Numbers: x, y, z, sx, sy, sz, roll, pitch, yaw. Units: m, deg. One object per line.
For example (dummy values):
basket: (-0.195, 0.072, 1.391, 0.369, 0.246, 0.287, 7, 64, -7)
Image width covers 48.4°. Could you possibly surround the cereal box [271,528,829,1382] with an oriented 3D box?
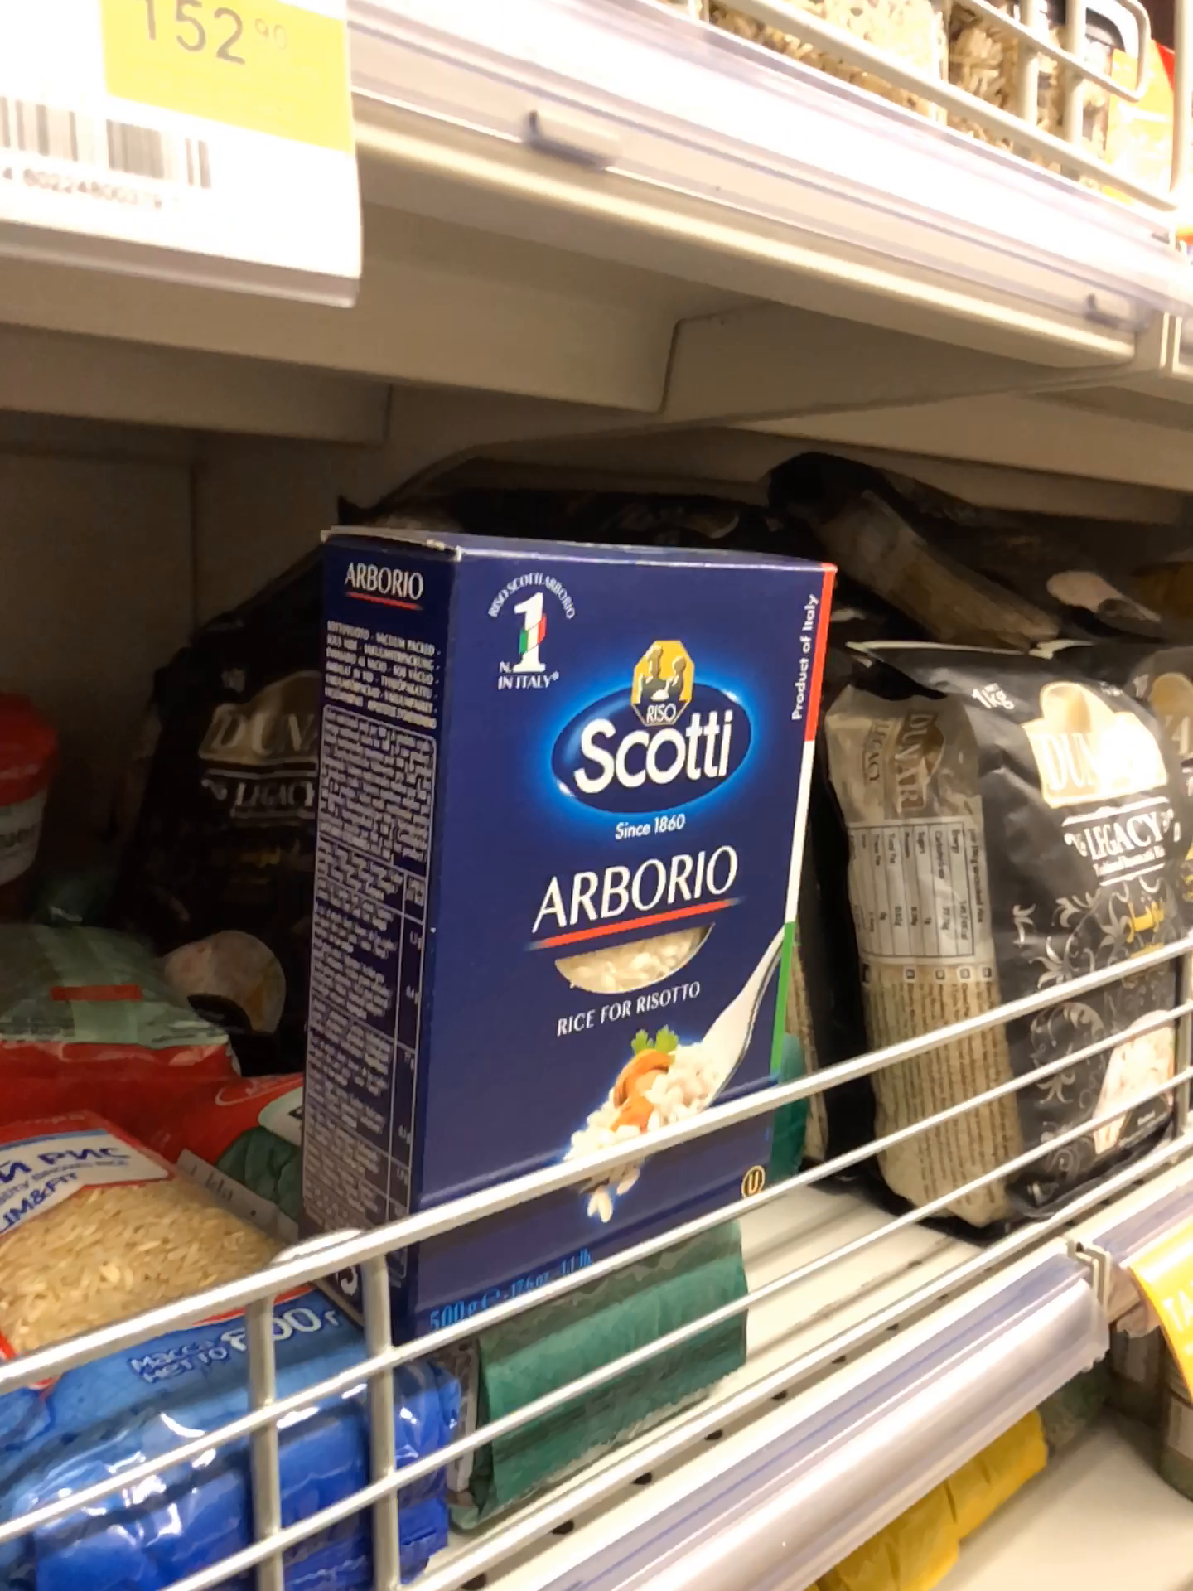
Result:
cereal box: (-0.009, 0.025, 0.297, 0.110, 0.160, 0.050, -6, 14, -44)
